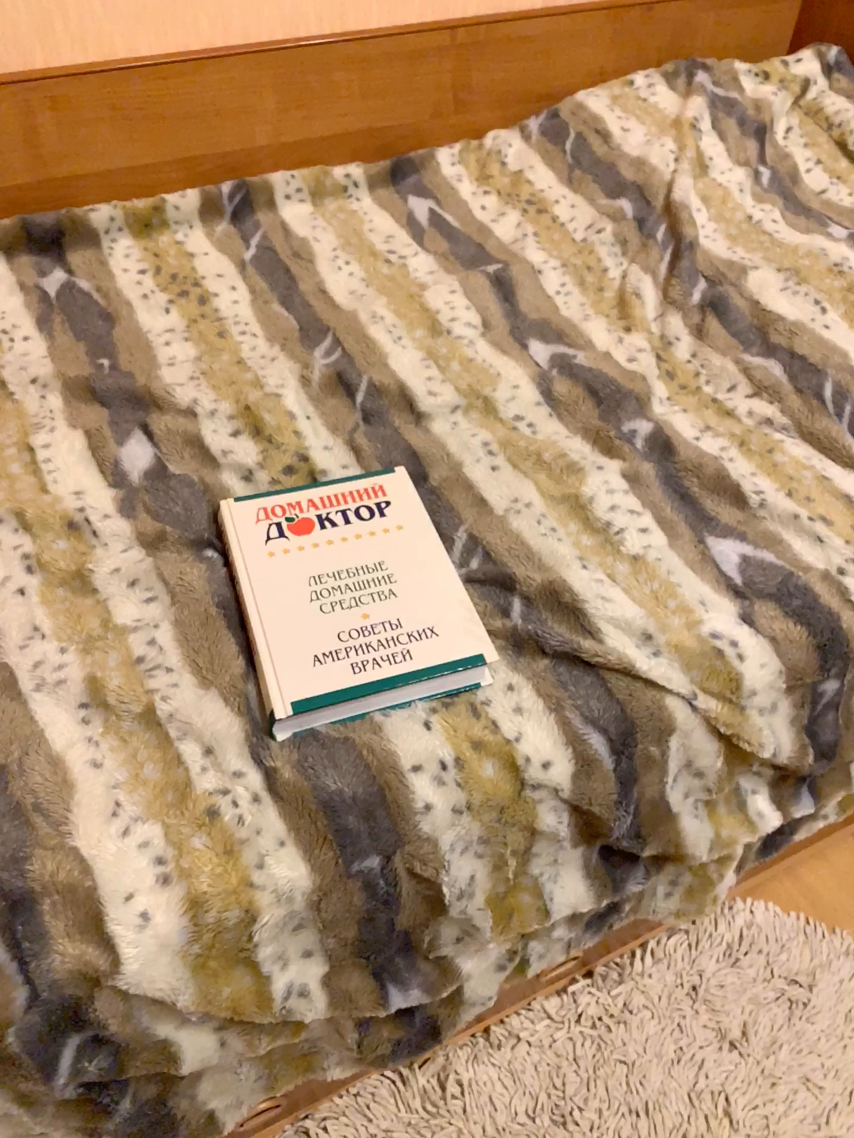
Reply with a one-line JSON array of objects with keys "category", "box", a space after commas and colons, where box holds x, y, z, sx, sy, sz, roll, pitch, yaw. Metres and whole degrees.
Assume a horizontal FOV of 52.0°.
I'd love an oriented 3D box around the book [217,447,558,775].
[{"category": "book", "box": [-0.040, 0.016, 0.662, 0.190, 0.040, 0.242, -13, 51, -14]}]
